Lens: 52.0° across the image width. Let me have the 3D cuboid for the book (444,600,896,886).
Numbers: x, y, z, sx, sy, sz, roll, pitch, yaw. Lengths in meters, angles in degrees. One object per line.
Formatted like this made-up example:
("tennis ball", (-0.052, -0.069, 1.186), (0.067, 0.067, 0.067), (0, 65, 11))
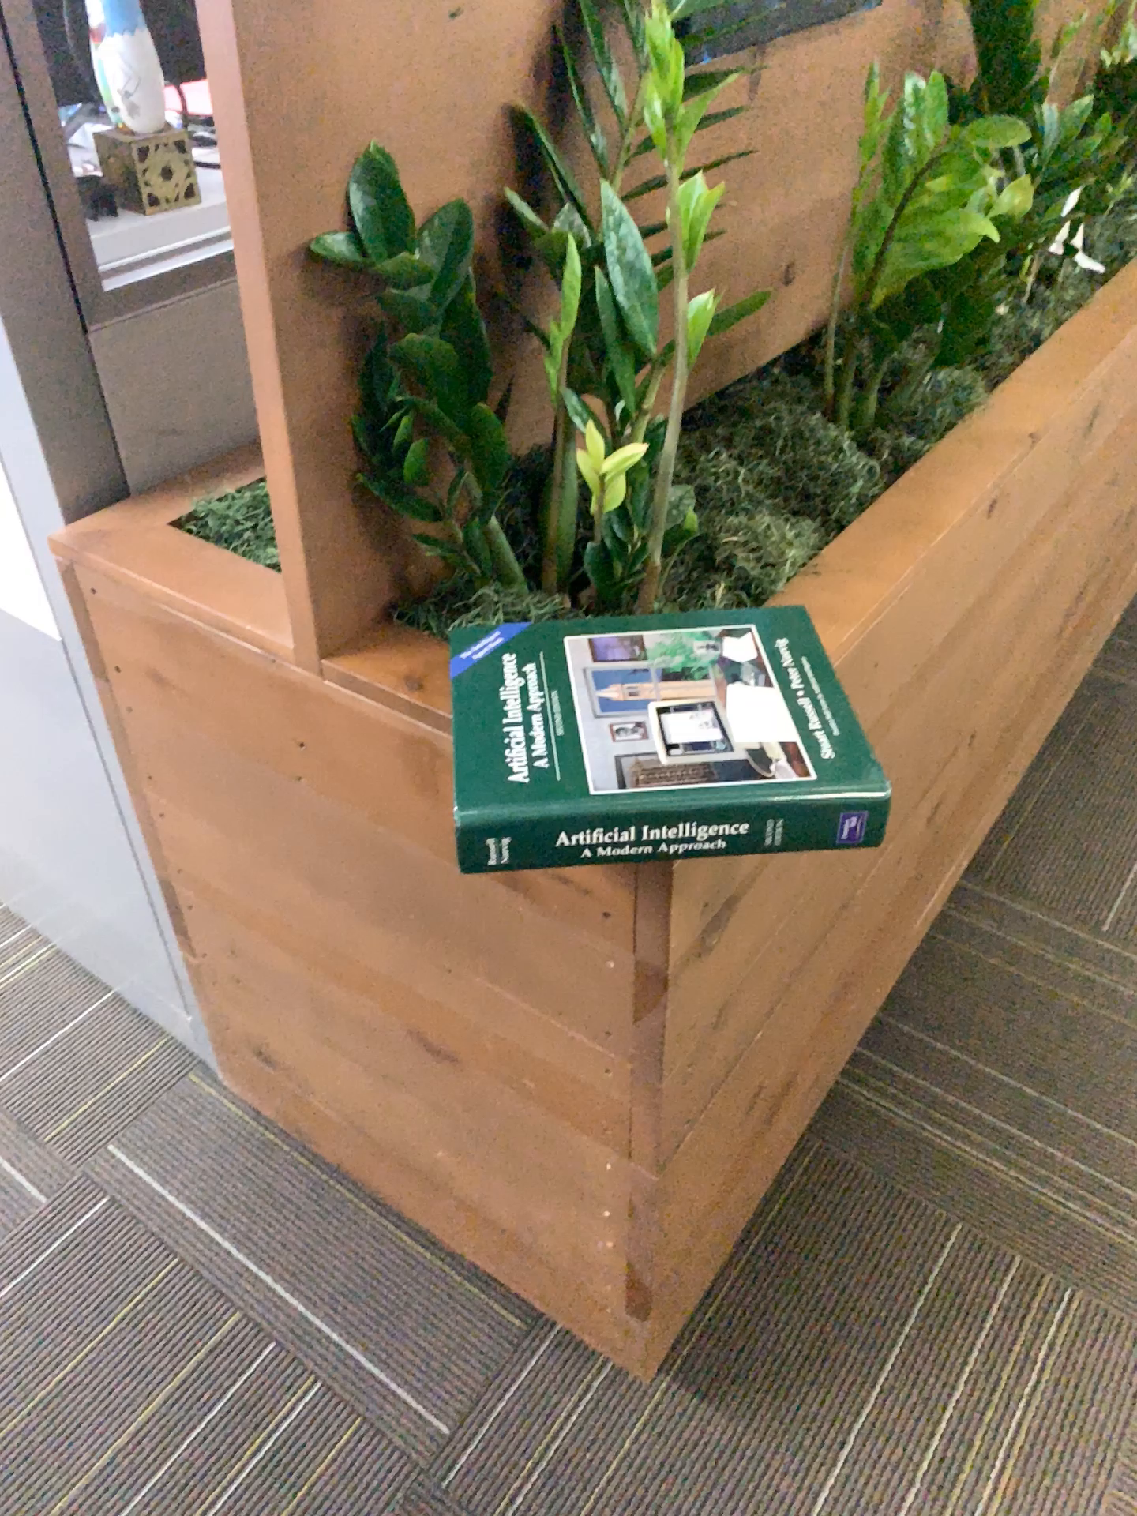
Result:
("book", (0.052, -0.019, 0.770), (0.260, 0.050, 0.211), (-4, 39, -4))
